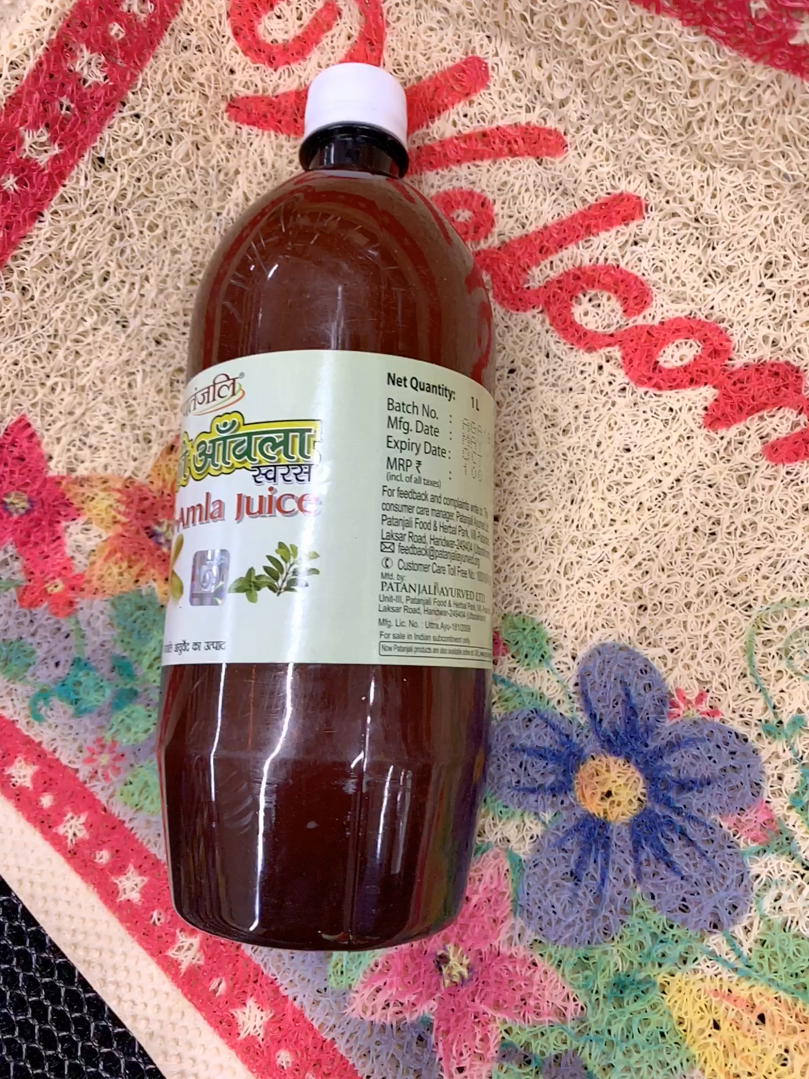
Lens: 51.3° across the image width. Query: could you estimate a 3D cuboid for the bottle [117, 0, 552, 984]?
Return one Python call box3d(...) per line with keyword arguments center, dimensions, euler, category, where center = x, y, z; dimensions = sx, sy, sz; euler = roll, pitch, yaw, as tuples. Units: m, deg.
box3d(center=(-0.018, -0.033, 0.226), dimensions=(0.080, 0.080, 0.250), euler=(7, 78, -26), category="bottle")
